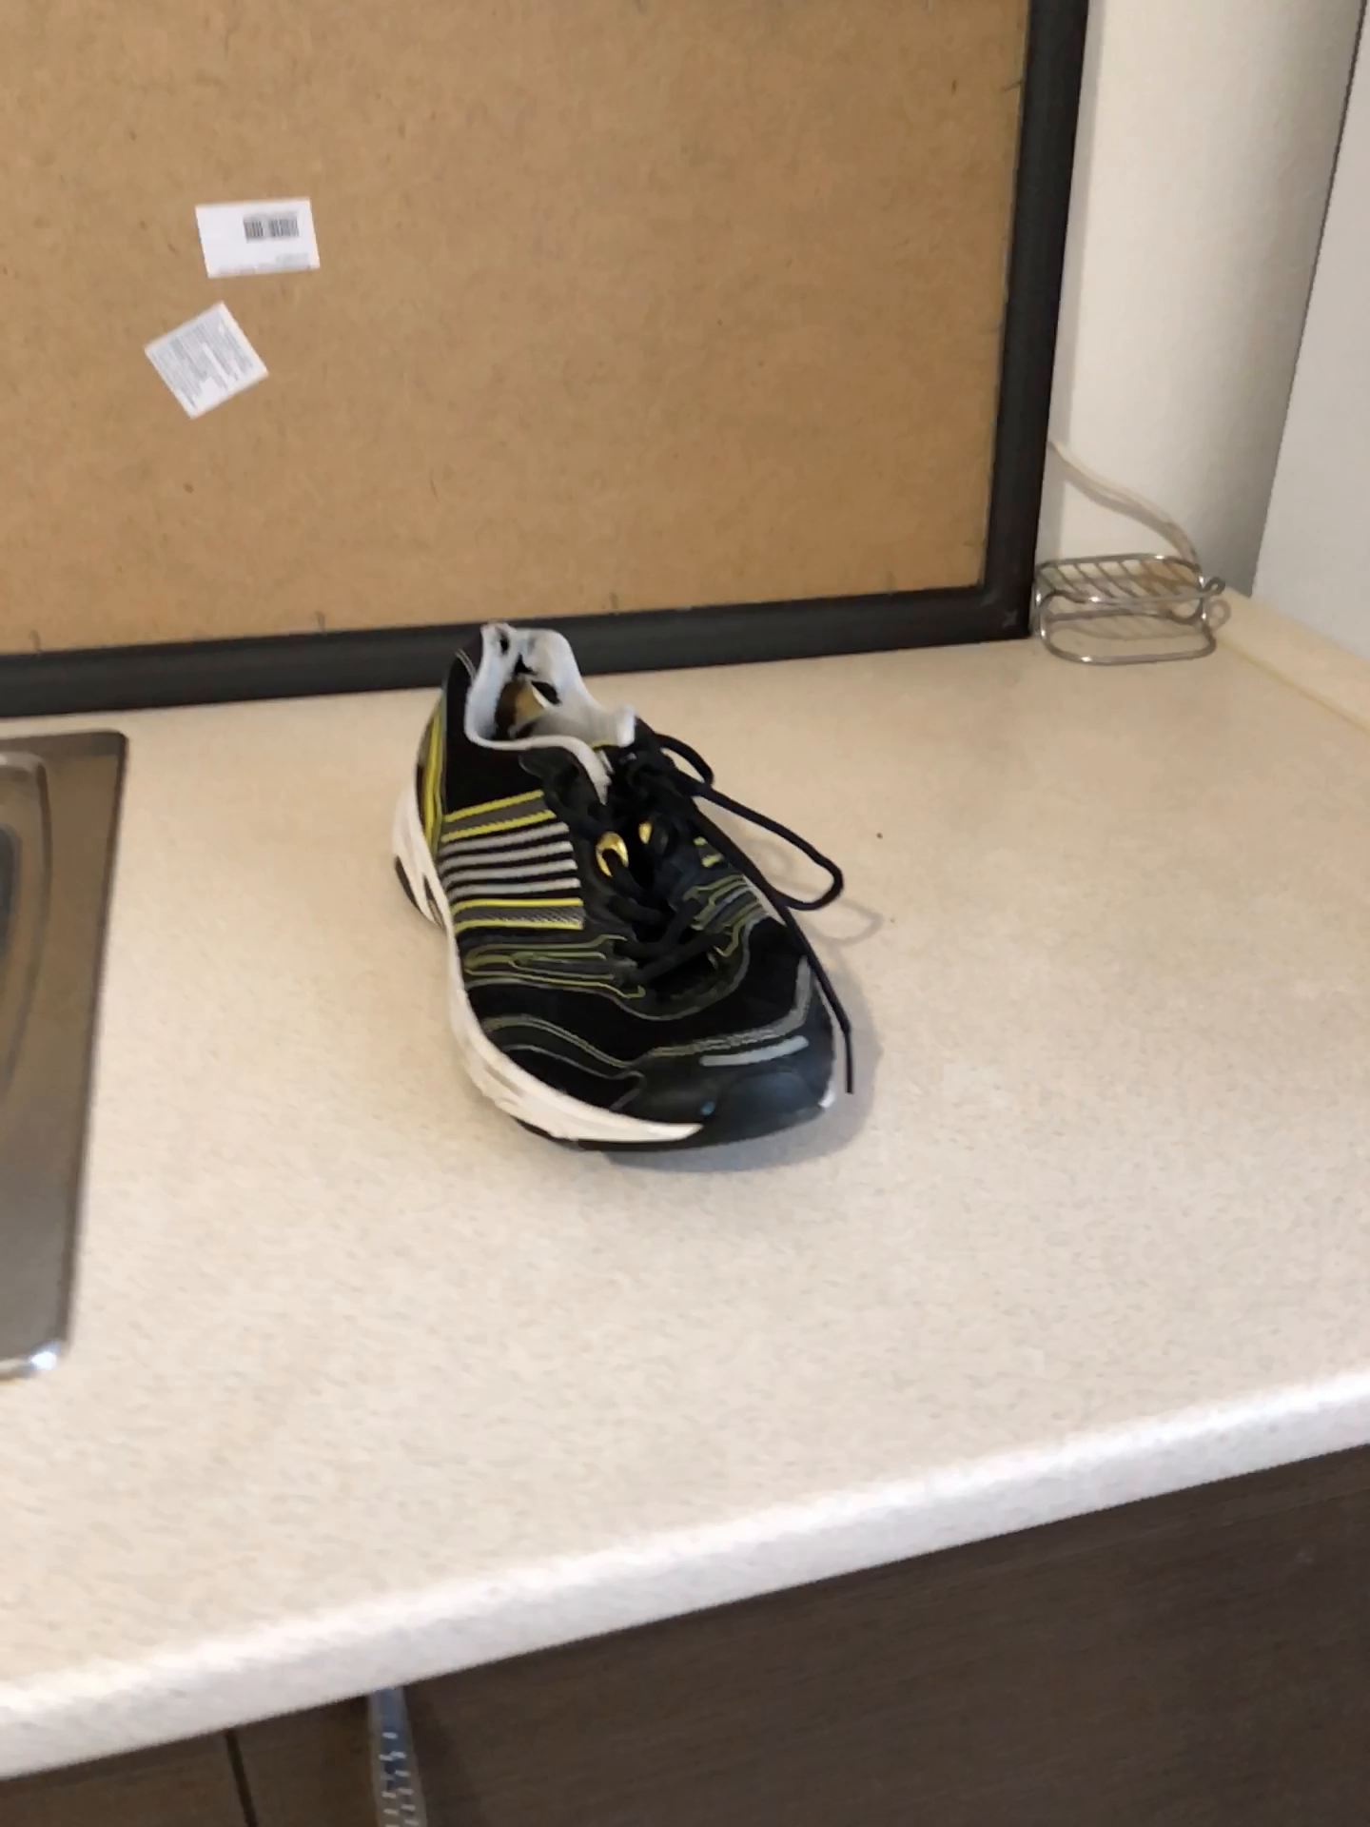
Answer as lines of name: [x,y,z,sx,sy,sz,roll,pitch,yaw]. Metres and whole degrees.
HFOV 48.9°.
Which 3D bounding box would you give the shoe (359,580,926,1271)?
shoe: [-0.036,-0.023,0.549,0.110,0.099,0.312,-9,31,-16]
